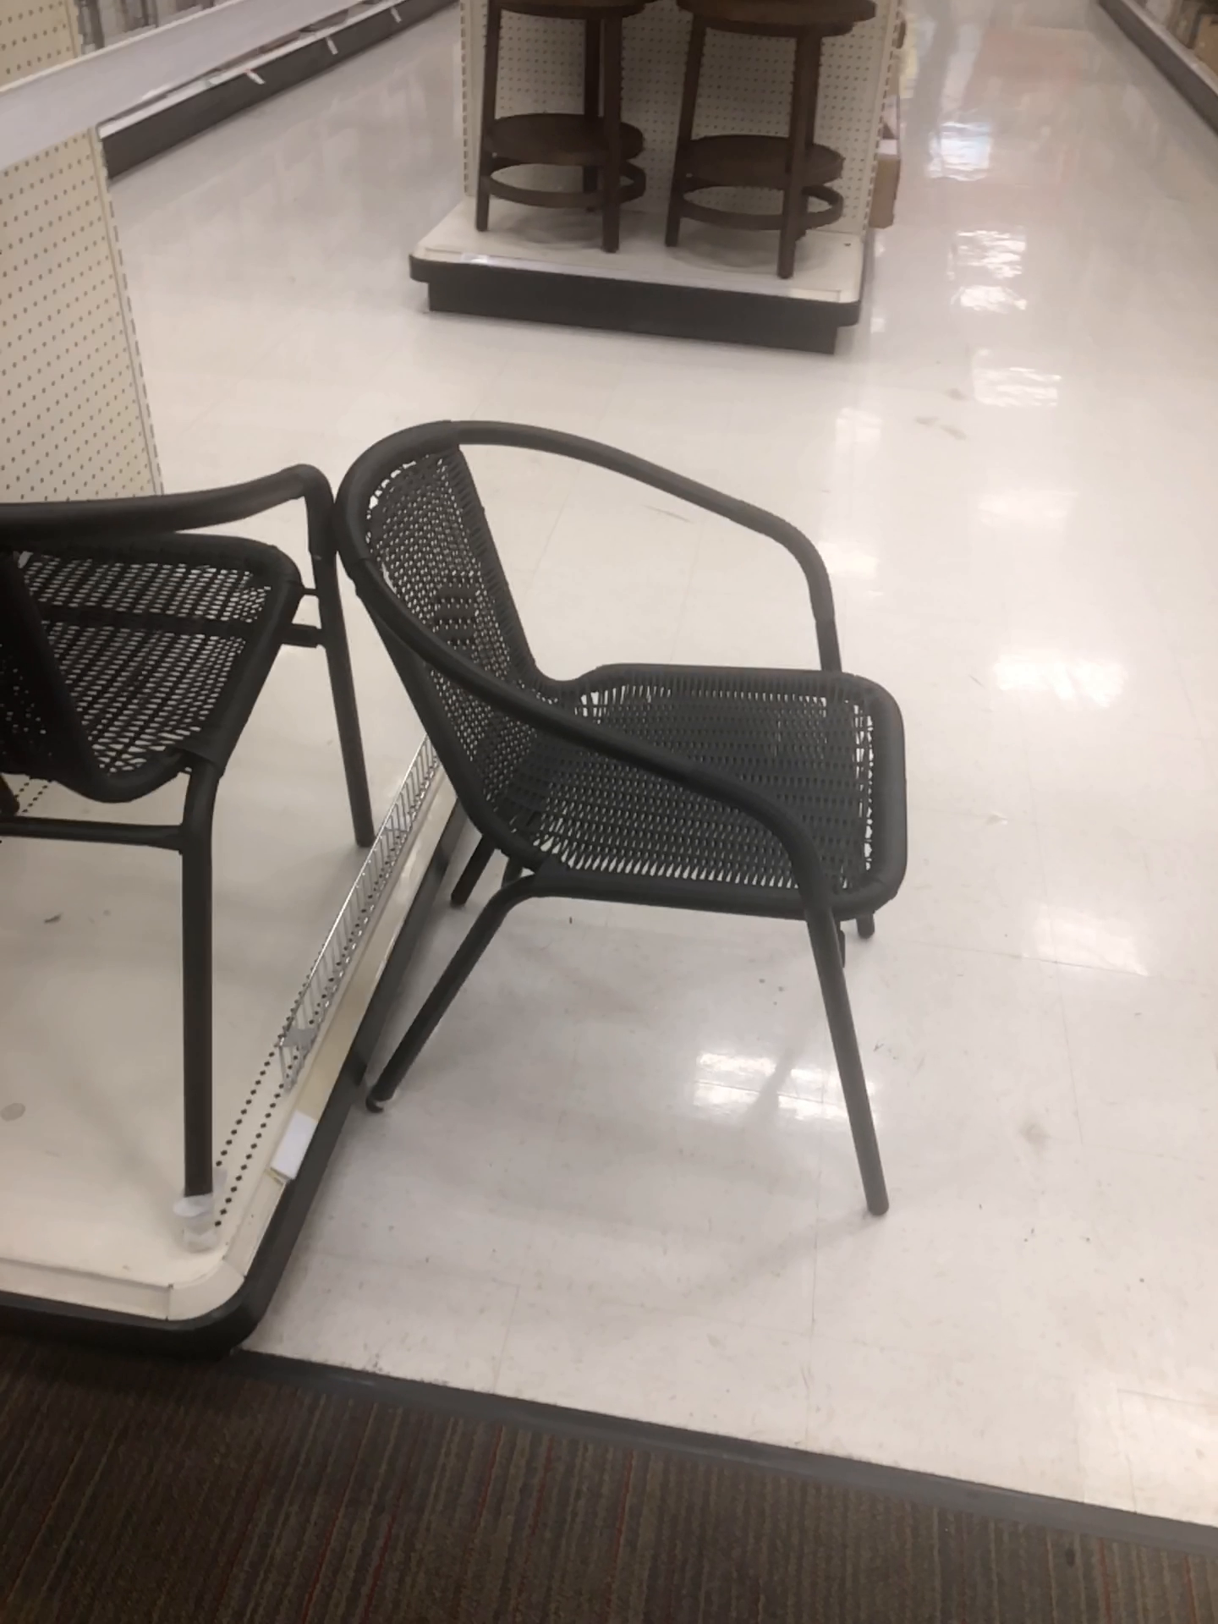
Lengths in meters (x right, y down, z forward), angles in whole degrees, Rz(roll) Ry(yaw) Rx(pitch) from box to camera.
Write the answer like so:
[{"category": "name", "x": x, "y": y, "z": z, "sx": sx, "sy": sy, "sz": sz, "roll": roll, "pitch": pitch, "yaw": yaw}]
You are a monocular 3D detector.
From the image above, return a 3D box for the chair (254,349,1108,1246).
[{"category": "chair", "x": 0.081, "y": -0.030, "z": 1.408, "sx": 0.640, "sy": 0.697, "sz": 0.533, "roll": 7, "pitch": 37, "yaw": 7}]
